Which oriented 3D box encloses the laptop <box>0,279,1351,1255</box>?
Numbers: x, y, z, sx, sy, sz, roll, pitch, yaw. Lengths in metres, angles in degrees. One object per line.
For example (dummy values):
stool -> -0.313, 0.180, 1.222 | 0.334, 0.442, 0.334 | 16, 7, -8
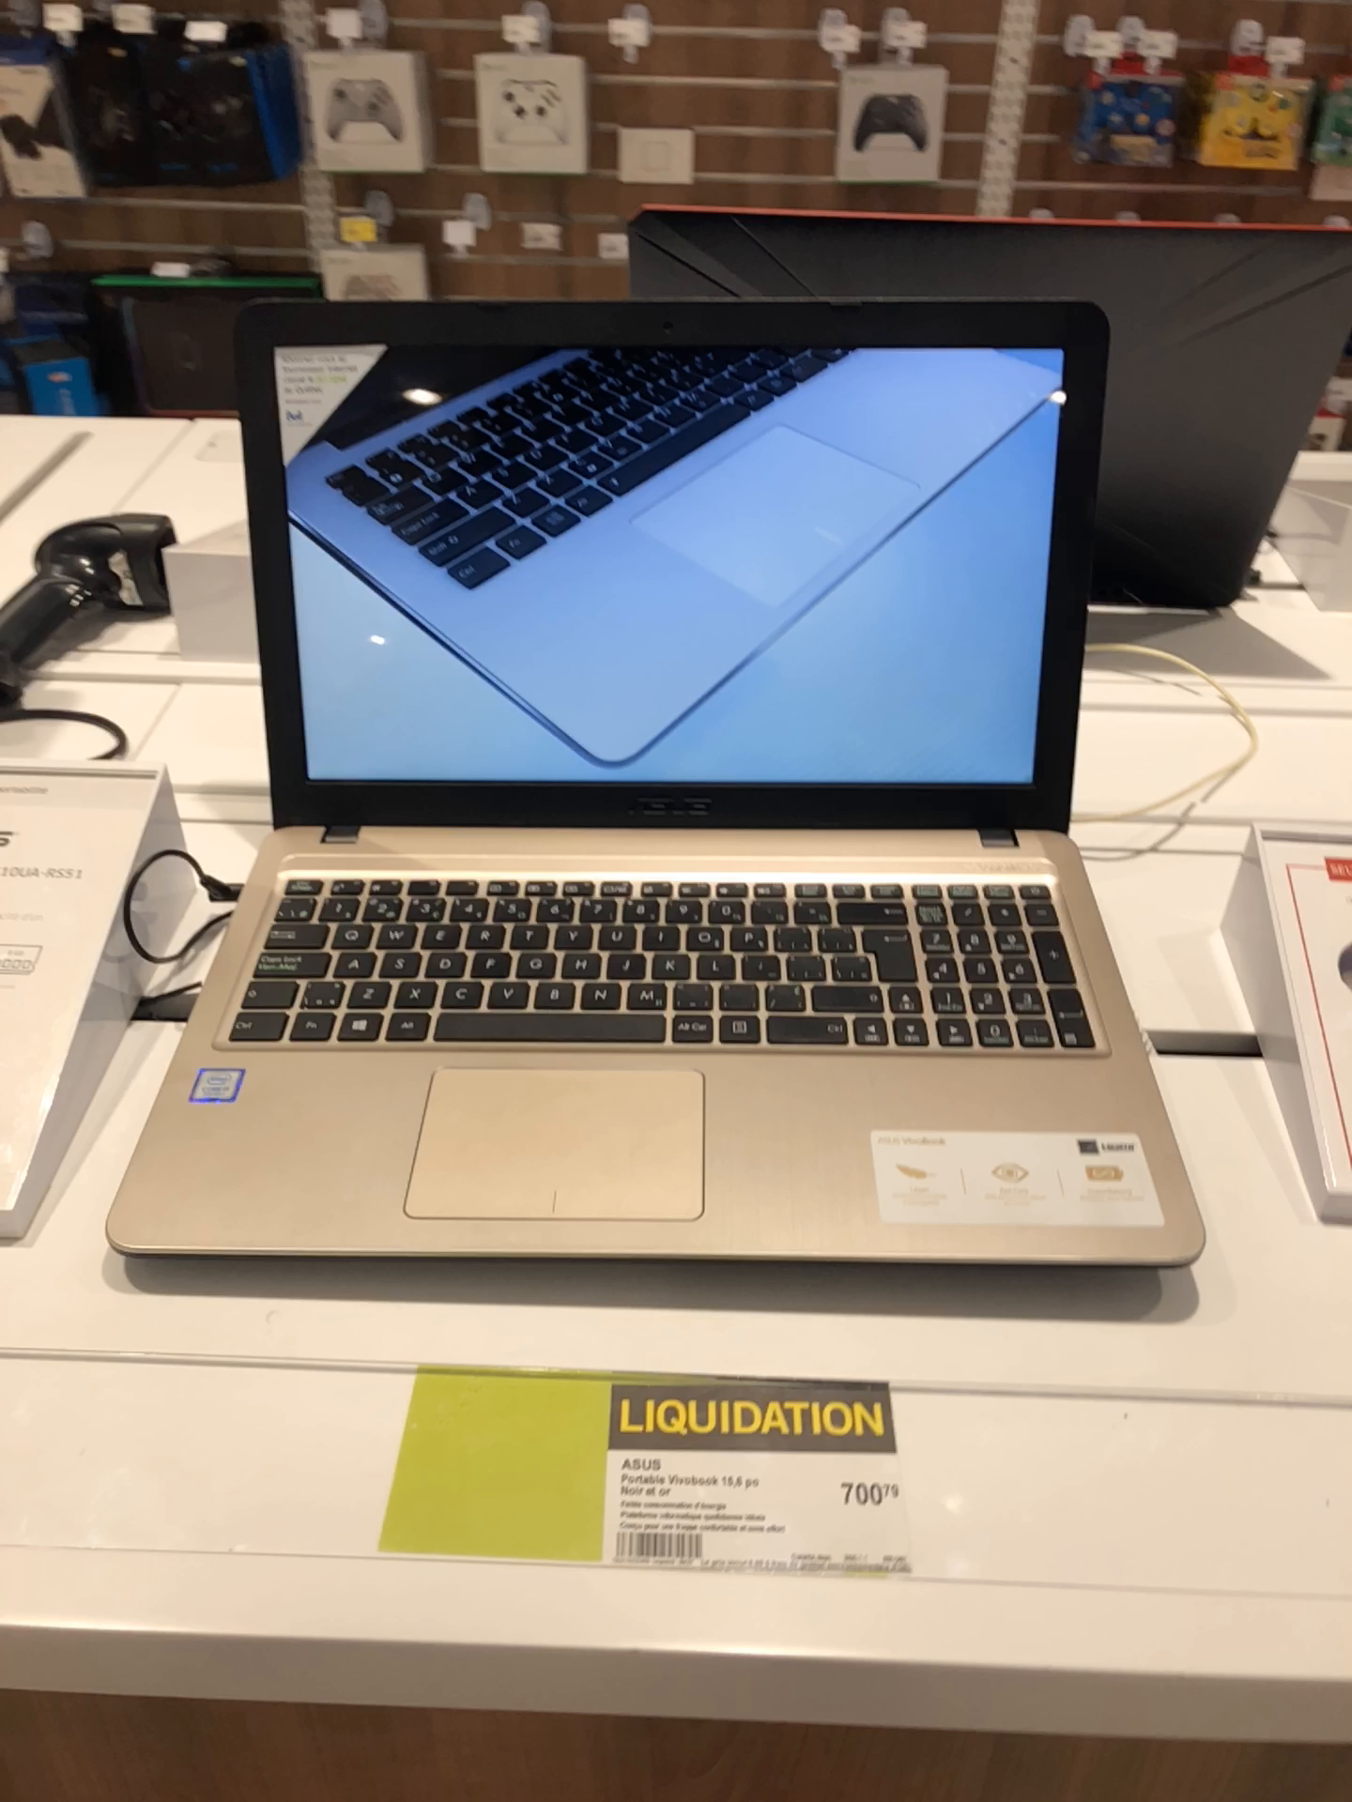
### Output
laptop -> -0.004, -0.076, 0.586 | 0.370, 0.204, 0.339 | 1, 40, 0
